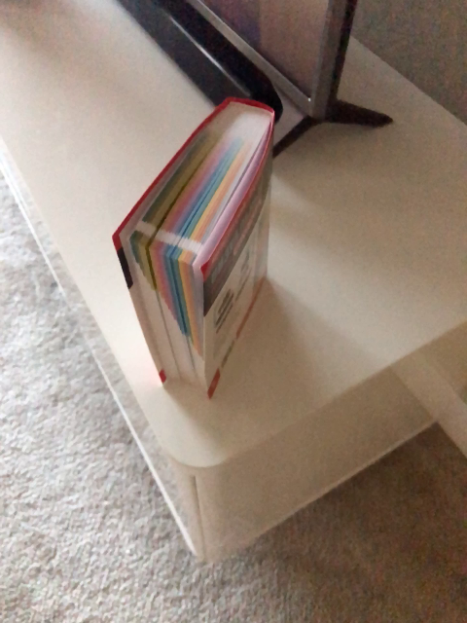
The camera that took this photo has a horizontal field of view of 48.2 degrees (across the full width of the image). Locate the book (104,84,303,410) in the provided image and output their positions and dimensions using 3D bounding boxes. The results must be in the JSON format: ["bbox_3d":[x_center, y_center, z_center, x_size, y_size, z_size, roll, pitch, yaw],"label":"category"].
[{"bbox_3d":[-0.015,-0.039,0.387,0.060,0.179,0.150,21,58,12],"label":"book"}]
